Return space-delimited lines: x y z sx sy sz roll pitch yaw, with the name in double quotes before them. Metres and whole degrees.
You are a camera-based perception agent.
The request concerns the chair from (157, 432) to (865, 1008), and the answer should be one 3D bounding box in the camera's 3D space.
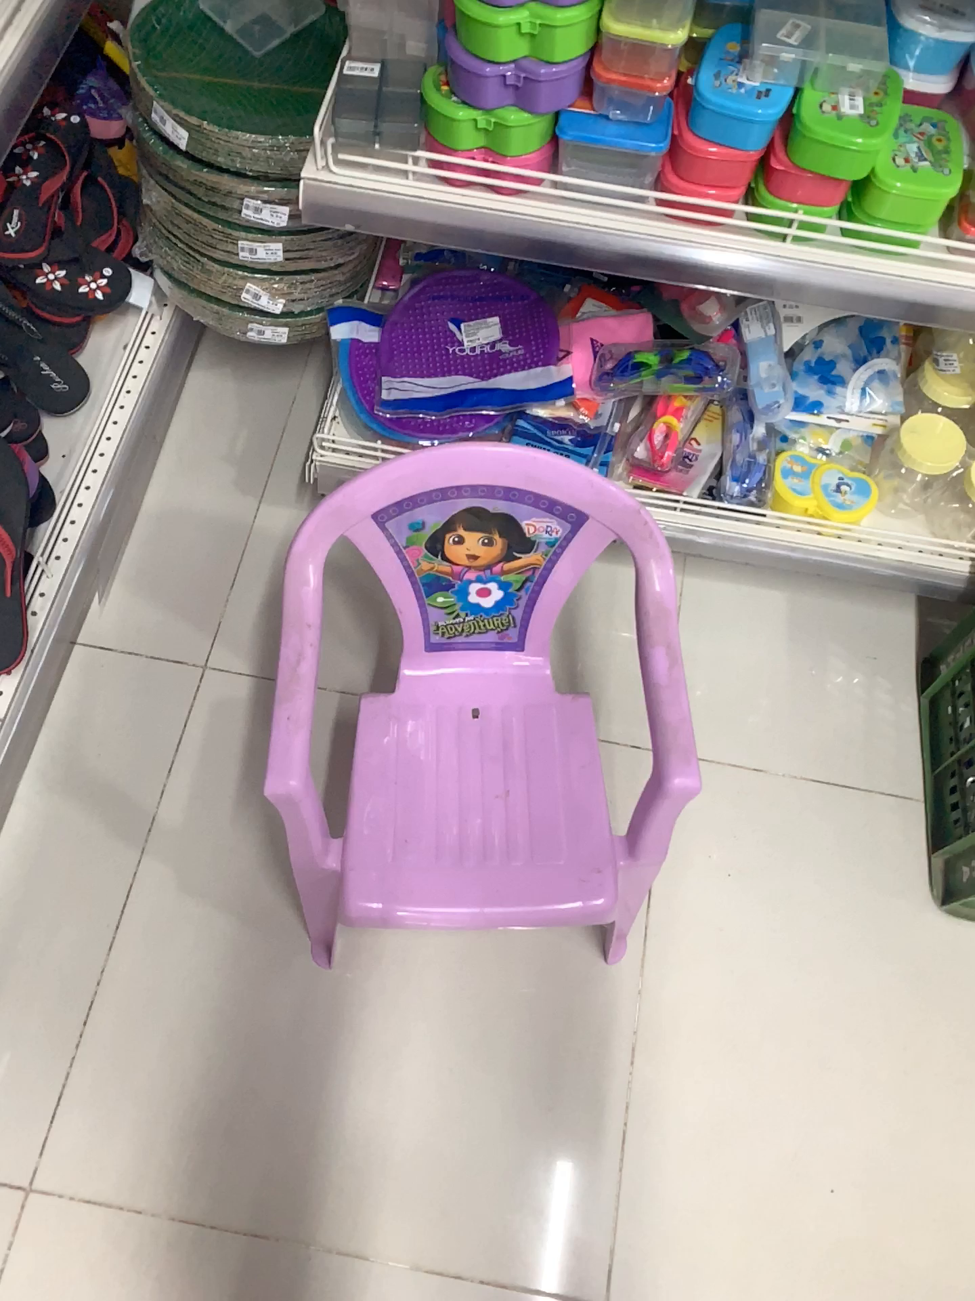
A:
"chair" 0.004 0.092 0.825 0.400 0.430 0.340 0 65 -3
